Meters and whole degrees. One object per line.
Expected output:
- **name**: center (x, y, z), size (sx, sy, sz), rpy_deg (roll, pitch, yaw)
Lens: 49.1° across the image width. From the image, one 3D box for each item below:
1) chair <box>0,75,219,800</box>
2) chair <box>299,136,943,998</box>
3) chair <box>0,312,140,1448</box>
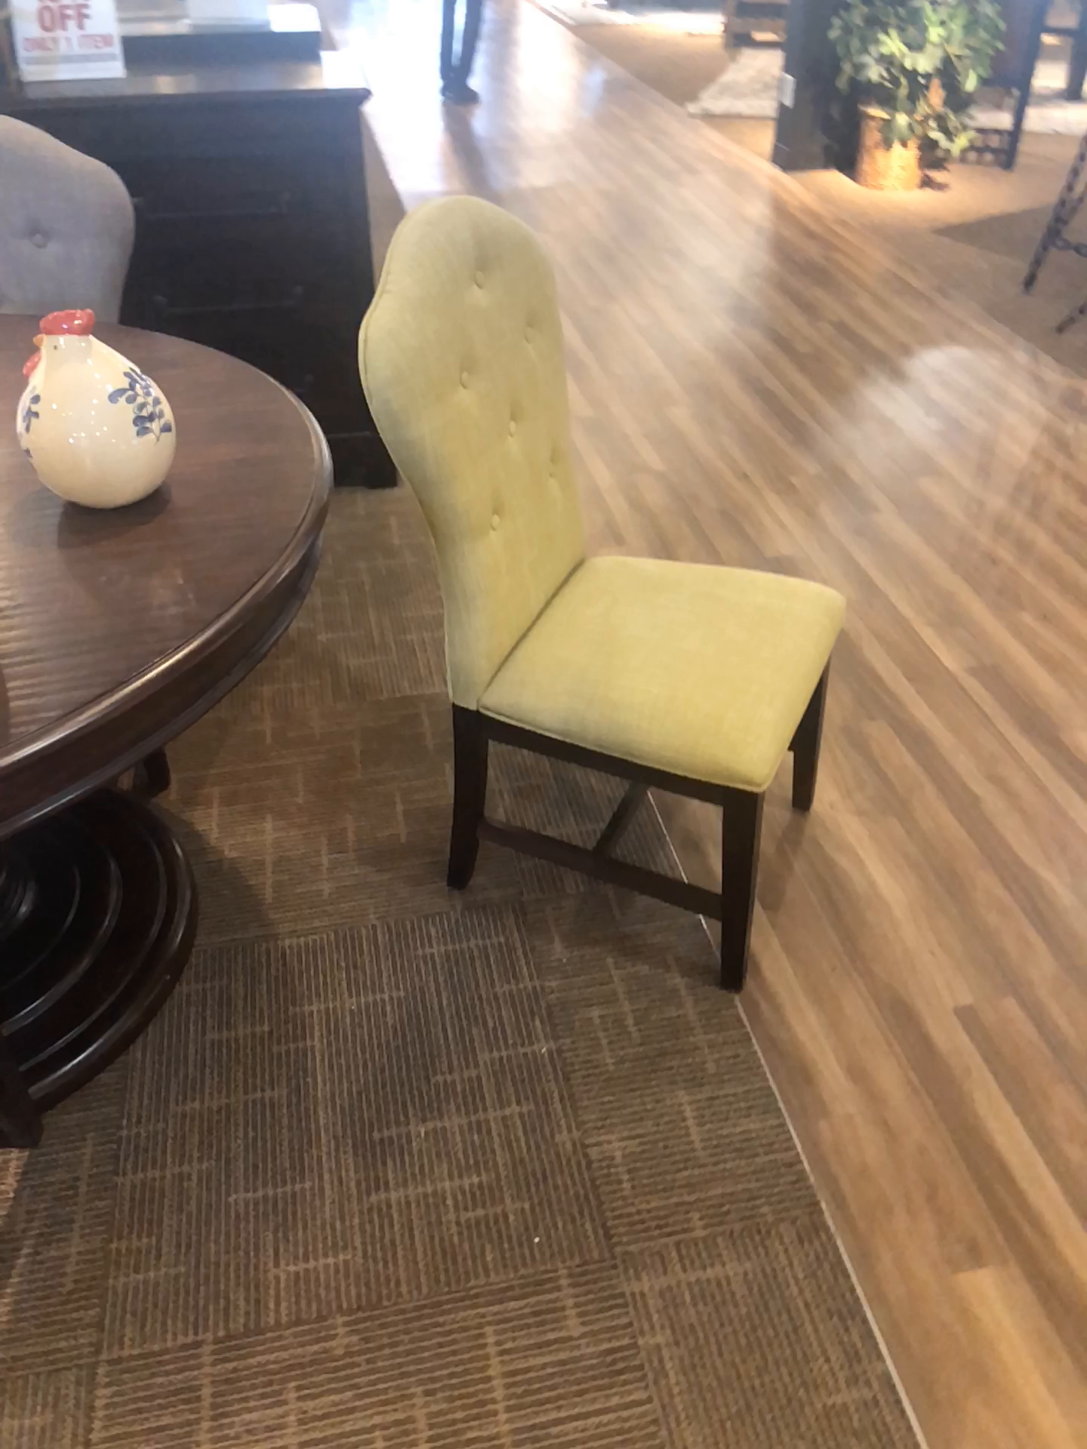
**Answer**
- **chair**: center (-0.891, -0.465, 1.946), size (0.508, 0.950, 0.638), rpy_deg (-5, 38, -7)
- **chair**: center (0.118, -0.218, 1.692), size (0.615, 0.980, 0.541), rpy_deg (14, 40, 16)
- **chair**: center (-0.753, 0.239, 1.001), size (0.518, 0.960, 0.578), rpy_deg (-3, 38, -4)
